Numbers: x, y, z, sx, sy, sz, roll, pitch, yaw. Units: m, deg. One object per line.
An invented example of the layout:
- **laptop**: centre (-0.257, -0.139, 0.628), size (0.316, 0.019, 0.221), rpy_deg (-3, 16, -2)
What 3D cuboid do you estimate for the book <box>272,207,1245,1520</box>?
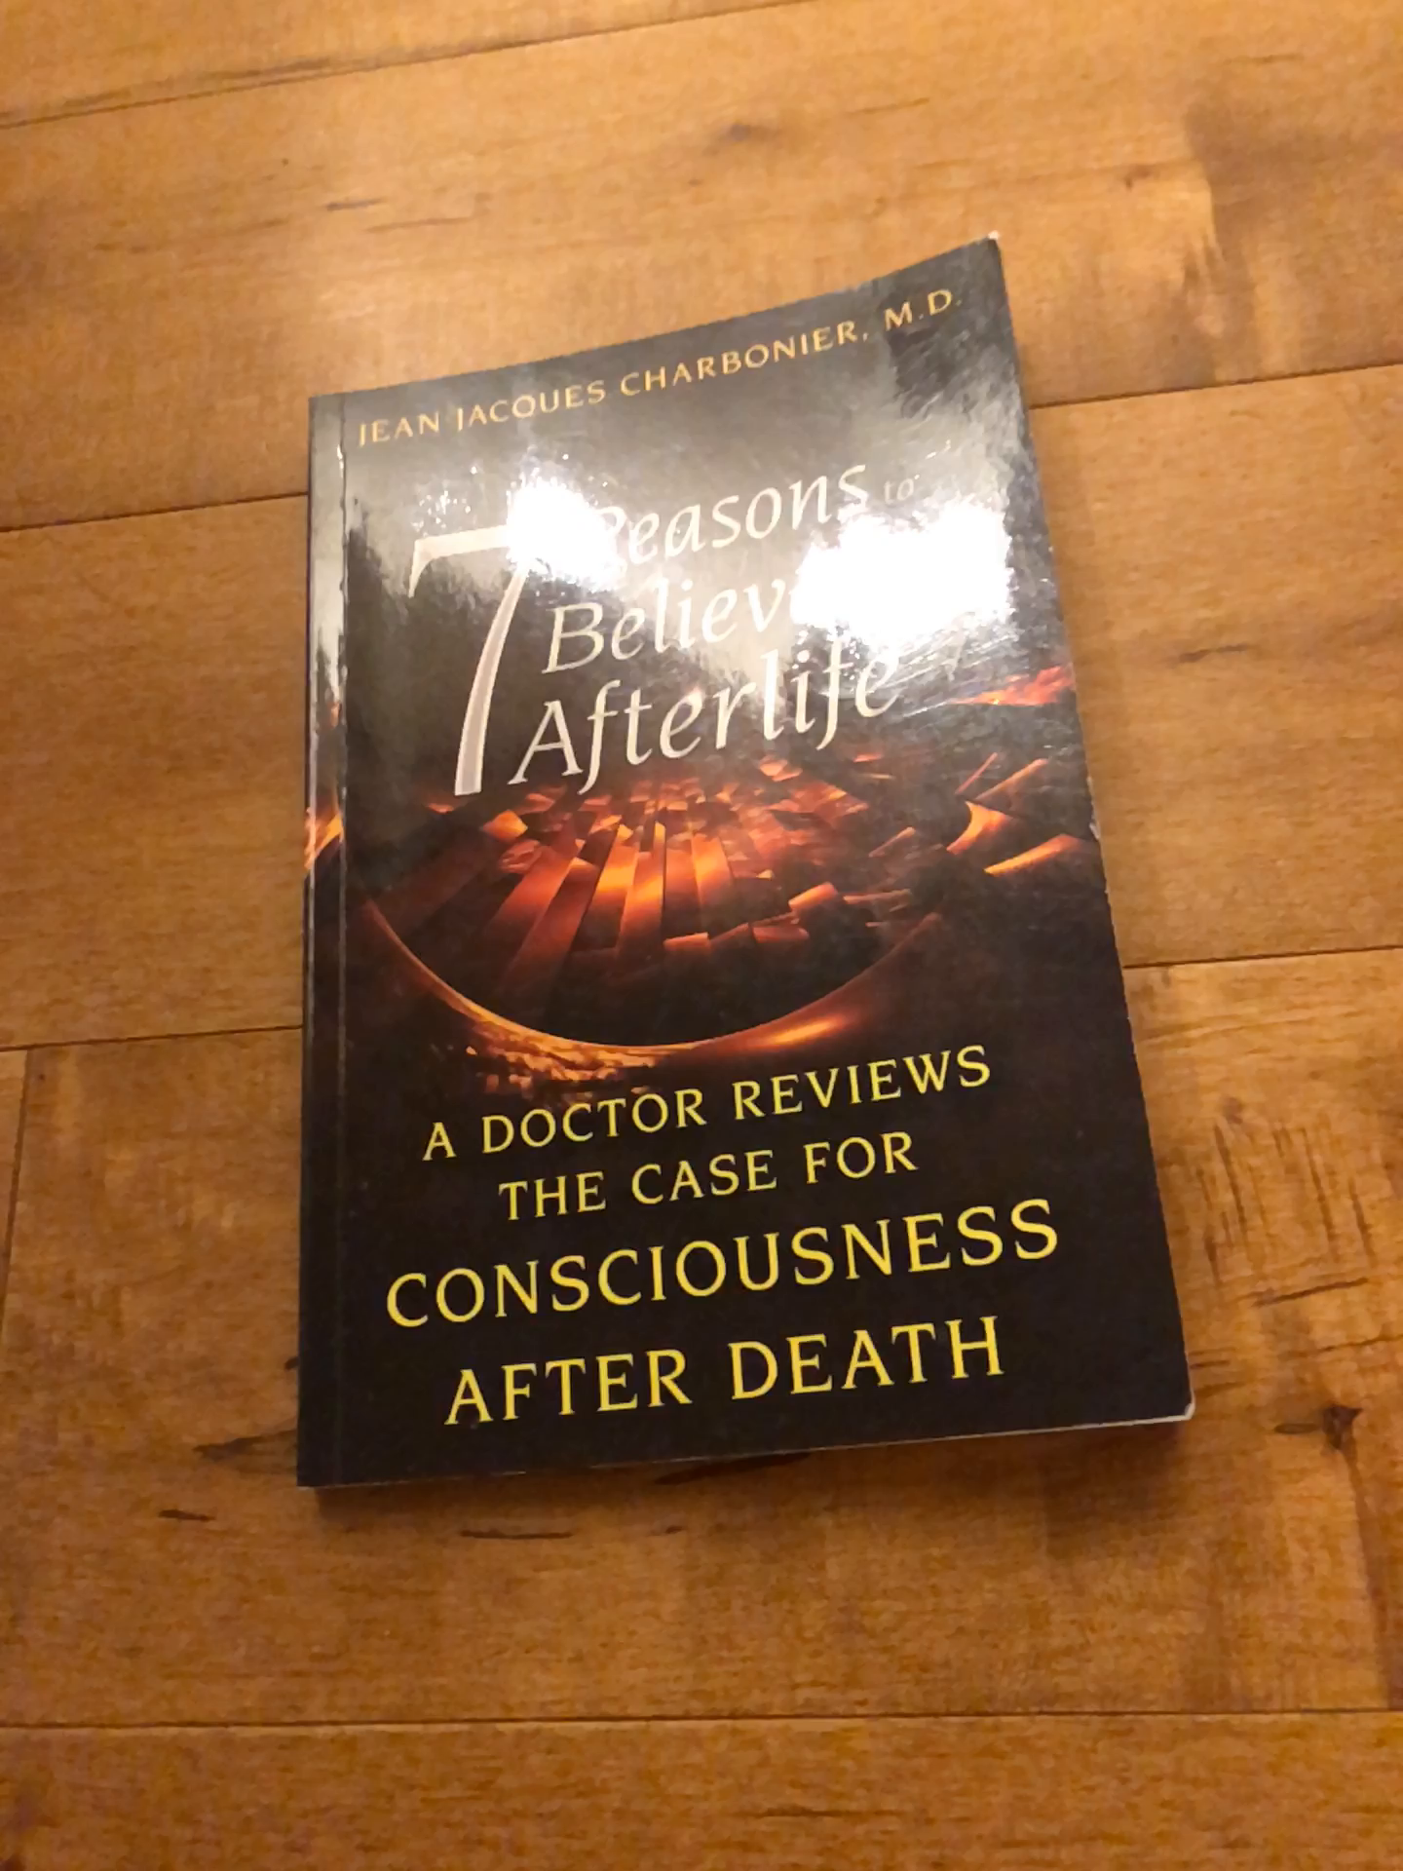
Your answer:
- **book**: centre (0.000, -0.019, 0.319), size (0.170, 0.030, 0.250), rpy_deg (-9, 70, 13)
